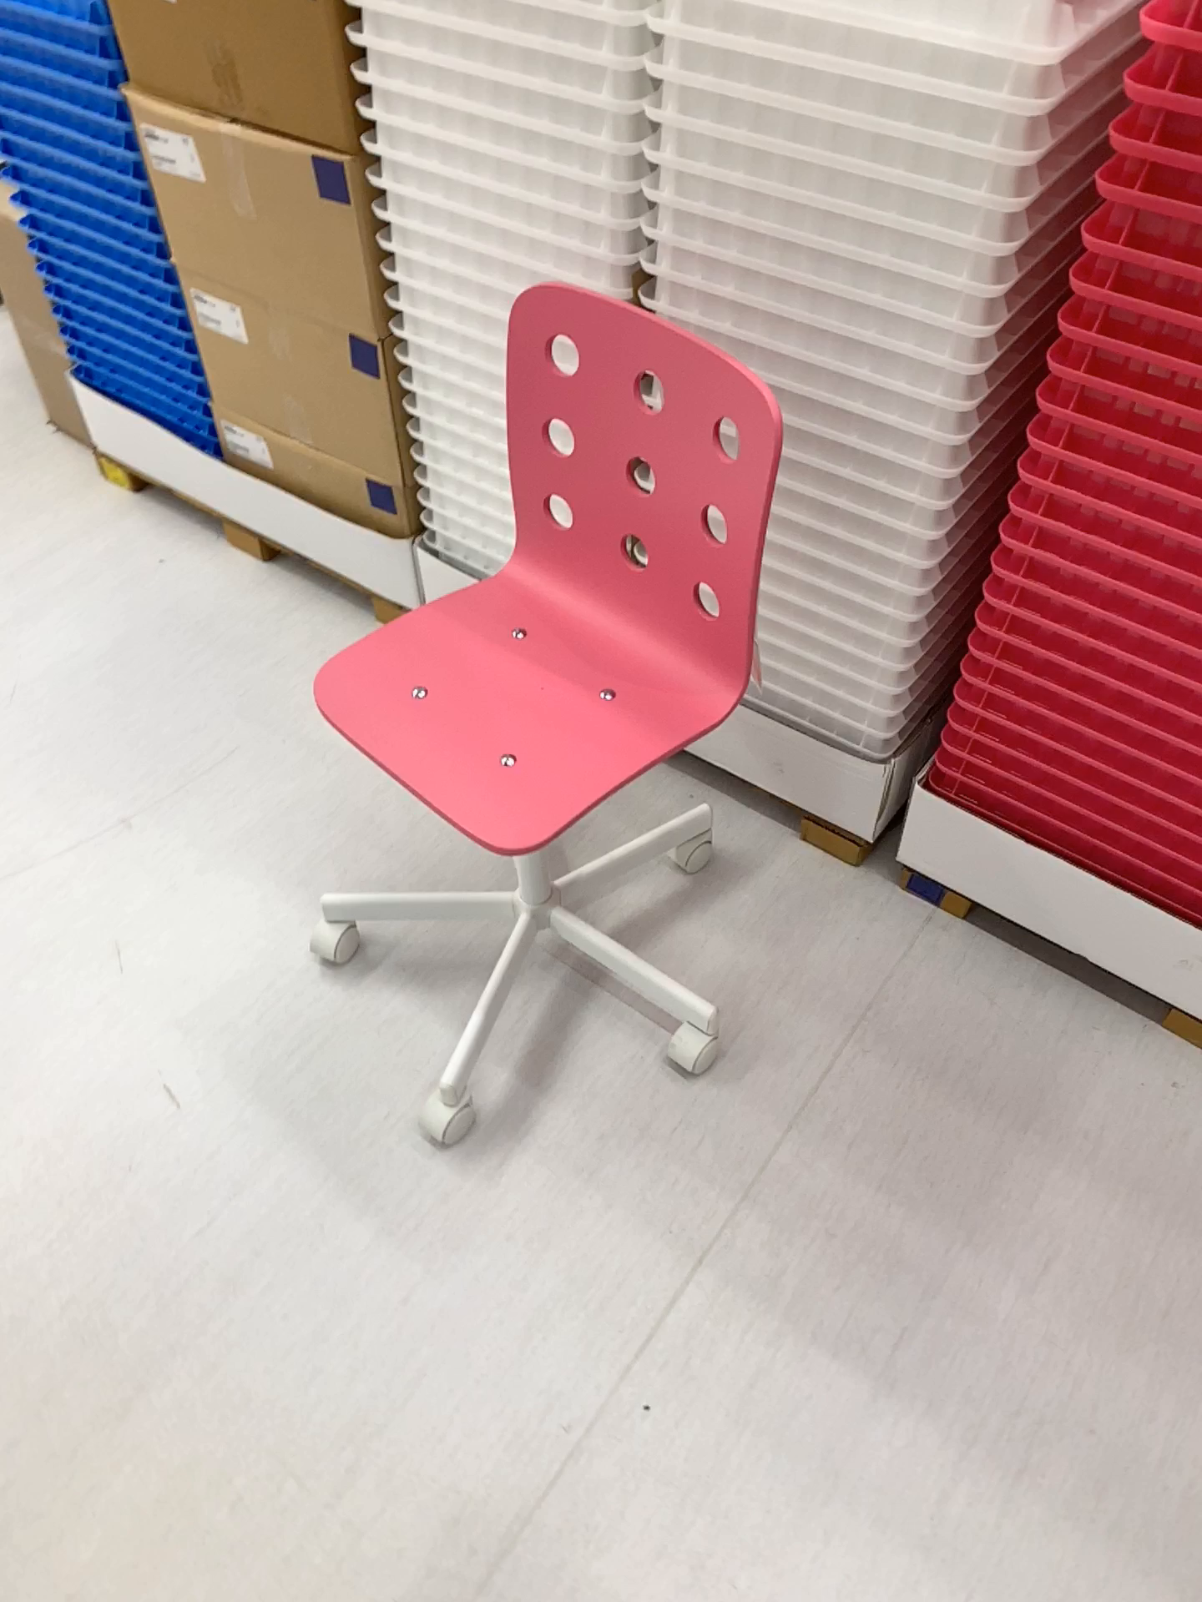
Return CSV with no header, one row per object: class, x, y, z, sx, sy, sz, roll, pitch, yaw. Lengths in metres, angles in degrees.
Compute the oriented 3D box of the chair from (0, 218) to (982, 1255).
chair,-0.078,-0.066,1.256,0.551,0.708,0.580,34,58,28
